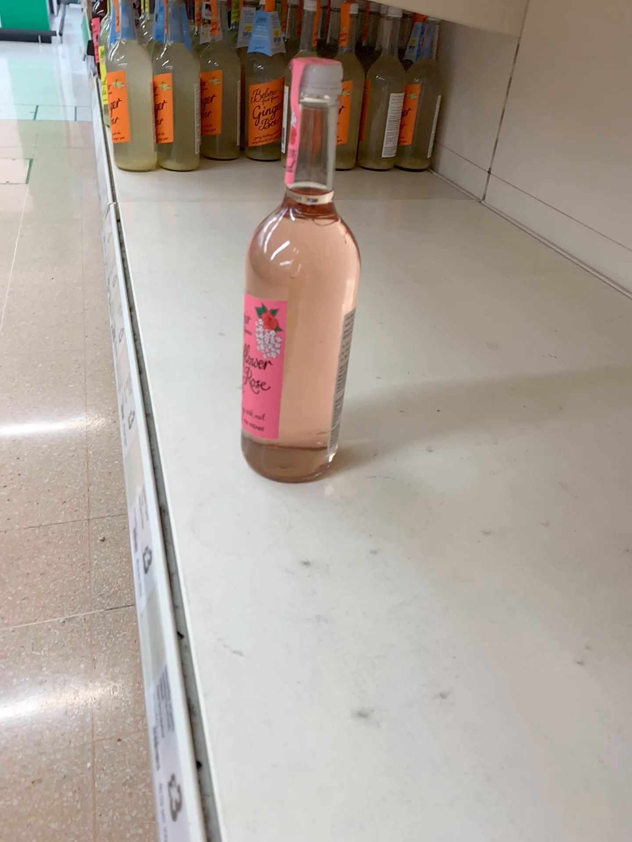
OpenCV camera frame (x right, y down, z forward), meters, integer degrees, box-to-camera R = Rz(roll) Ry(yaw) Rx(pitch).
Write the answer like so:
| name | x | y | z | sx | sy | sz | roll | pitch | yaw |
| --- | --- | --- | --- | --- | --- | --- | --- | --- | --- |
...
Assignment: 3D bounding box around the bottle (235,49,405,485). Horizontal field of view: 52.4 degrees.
| name | x | y | z | sx | sy | sz | roll | pitch | yaw |
| --- | --- | --- | --- | --- | --- | --- | --- | --- | --- |
| bottle | -0.010 | -0.091 | 0.441 | 0.086 | 0.274 | 0.087 | 4 | 34 | -3 |
